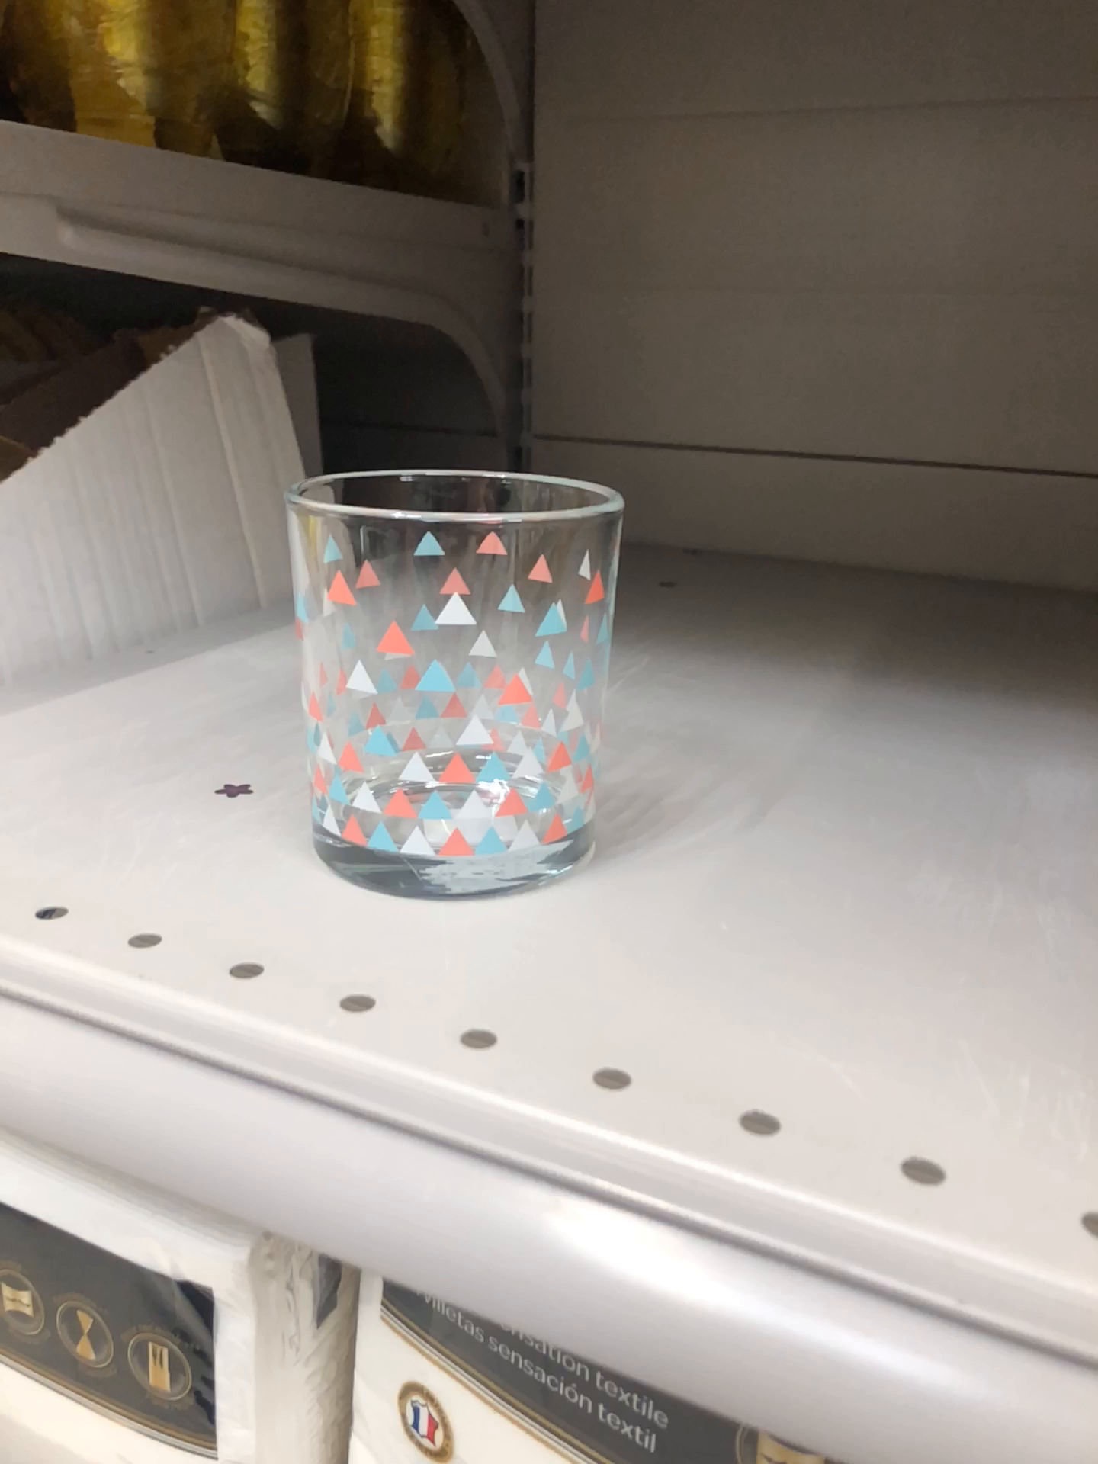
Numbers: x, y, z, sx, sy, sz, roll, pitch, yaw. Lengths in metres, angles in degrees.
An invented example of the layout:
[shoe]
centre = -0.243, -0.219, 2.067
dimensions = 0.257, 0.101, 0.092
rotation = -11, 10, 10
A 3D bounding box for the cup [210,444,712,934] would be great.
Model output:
[cup]
centre = -0.016, -0.017, 0.268
dimensions = 0.076, 0.081, 0.077
rotation = 1, 18, 0
